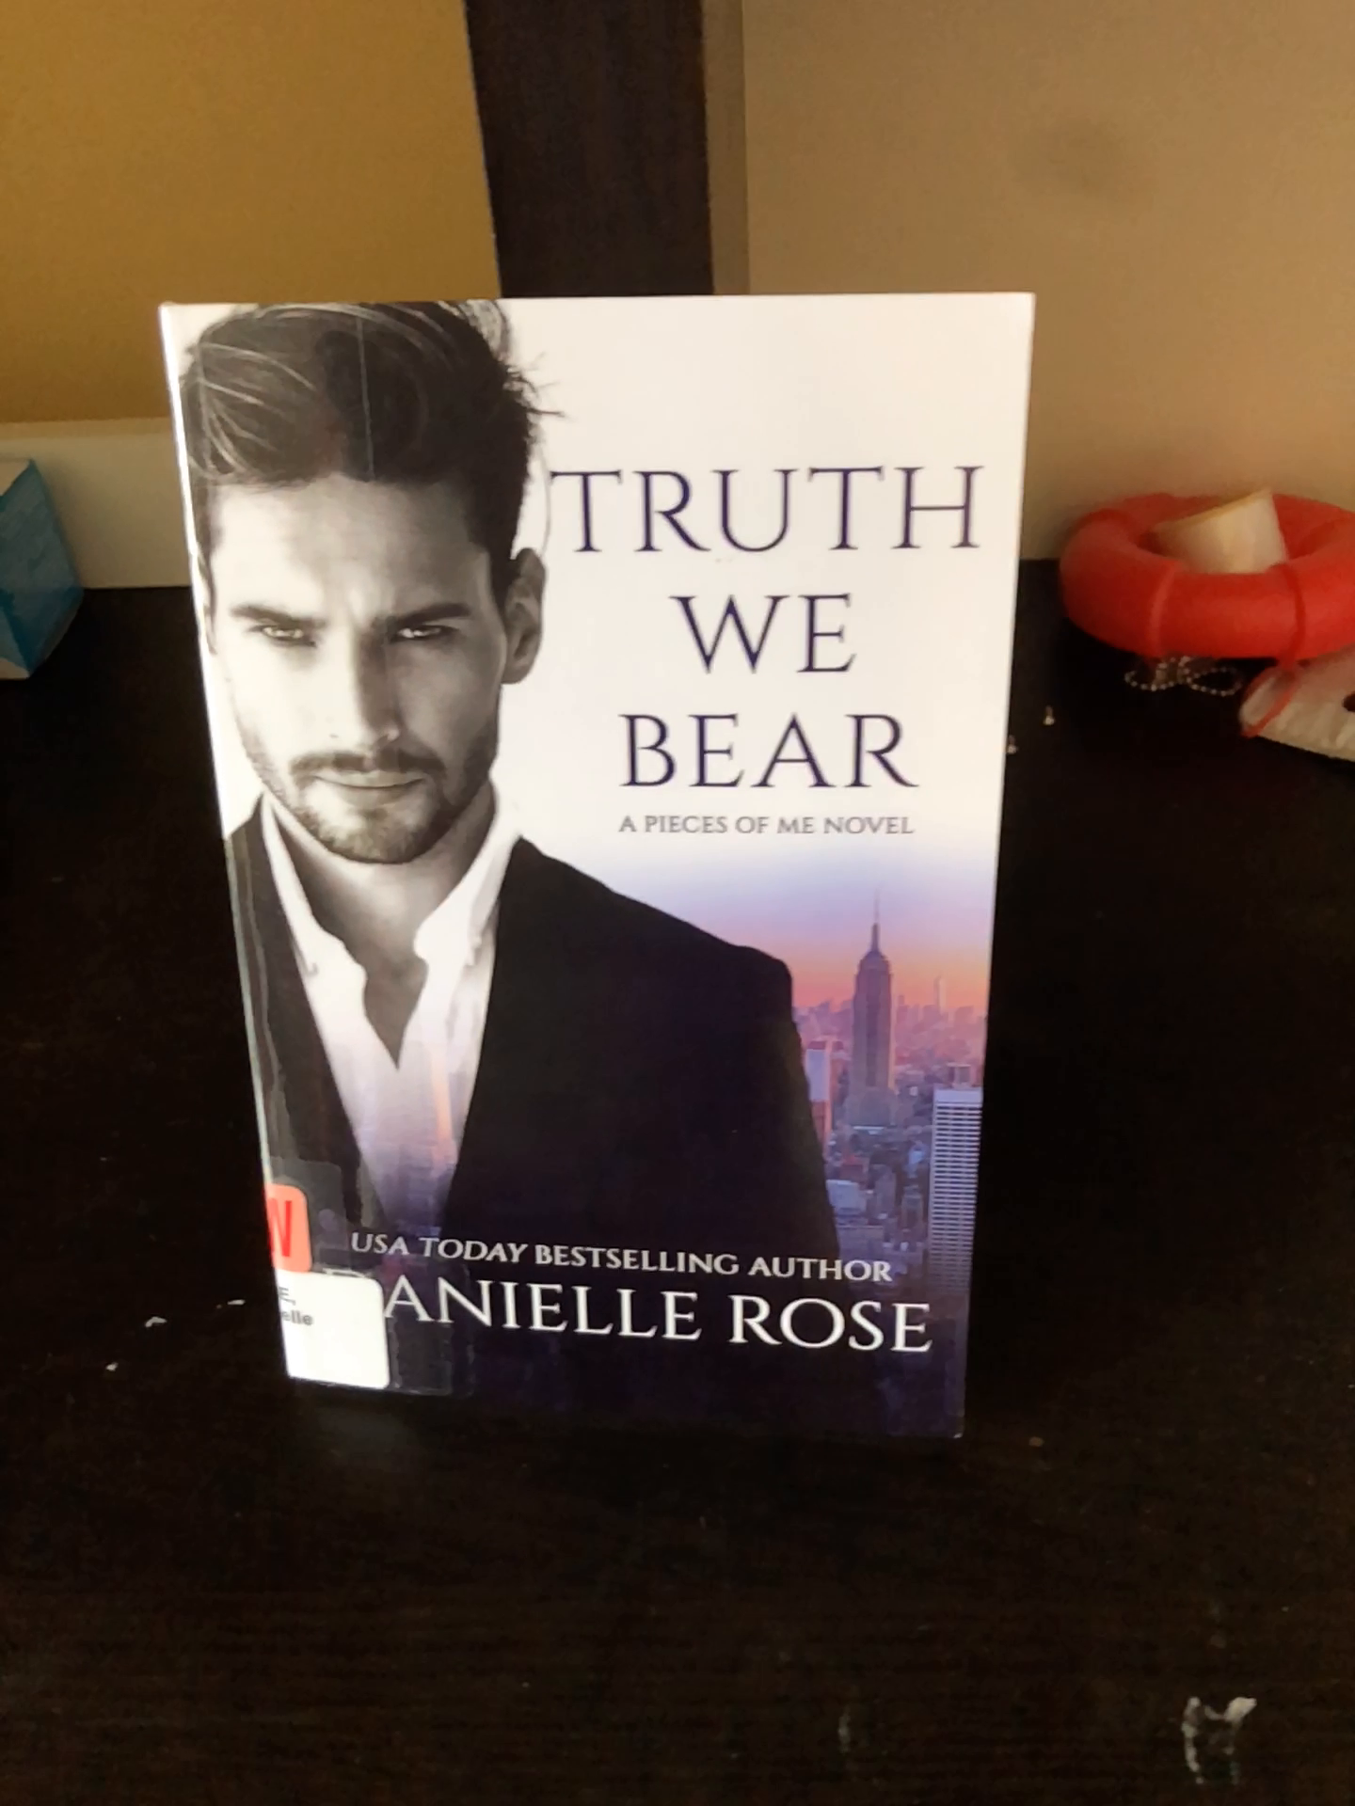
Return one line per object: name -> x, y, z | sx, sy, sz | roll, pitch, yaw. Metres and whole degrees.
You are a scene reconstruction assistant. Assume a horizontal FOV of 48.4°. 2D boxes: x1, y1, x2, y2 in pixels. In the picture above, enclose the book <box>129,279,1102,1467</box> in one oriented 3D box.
book -> -0.010, 0.005, 0.278 | 0.150, 0.220, 0.020 | 1, 21, 5
